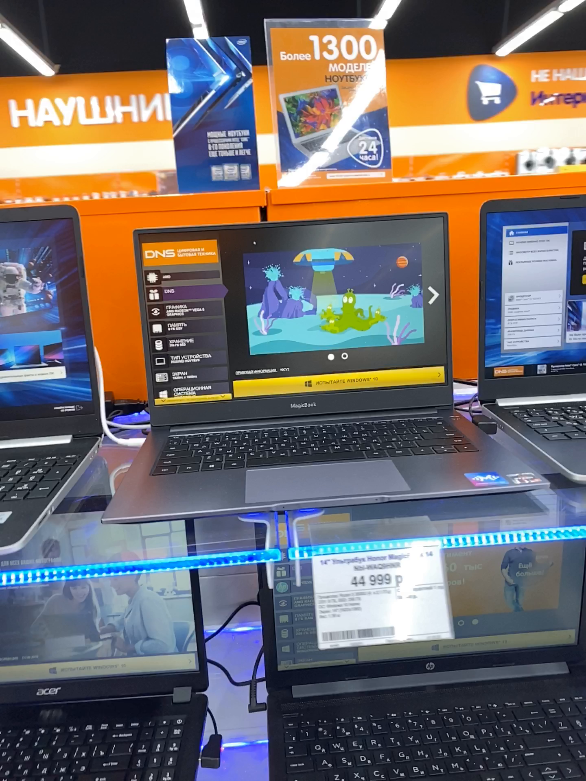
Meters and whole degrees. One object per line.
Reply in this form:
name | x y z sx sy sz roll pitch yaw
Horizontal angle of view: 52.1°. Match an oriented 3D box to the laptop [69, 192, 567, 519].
laptop | 0.017 -0.047 0.523 0.323 0.203 0.238 -4 13 -3
